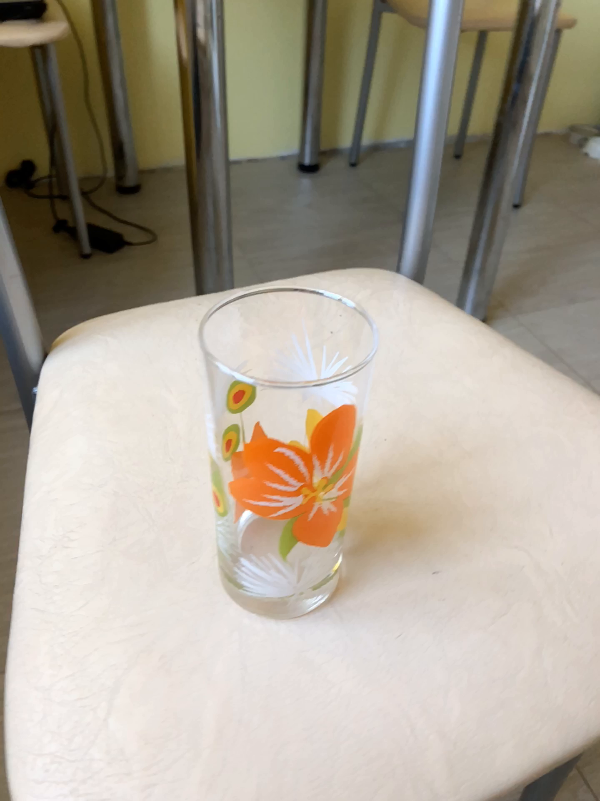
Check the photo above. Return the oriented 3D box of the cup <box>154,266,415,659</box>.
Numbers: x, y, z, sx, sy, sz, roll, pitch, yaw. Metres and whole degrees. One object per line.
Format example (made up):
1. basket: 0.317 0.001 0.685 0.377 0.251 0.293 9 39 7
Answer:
1. cup: -0.008 0.027 0.266 0.063 0.133 0.061 2 40 -2
